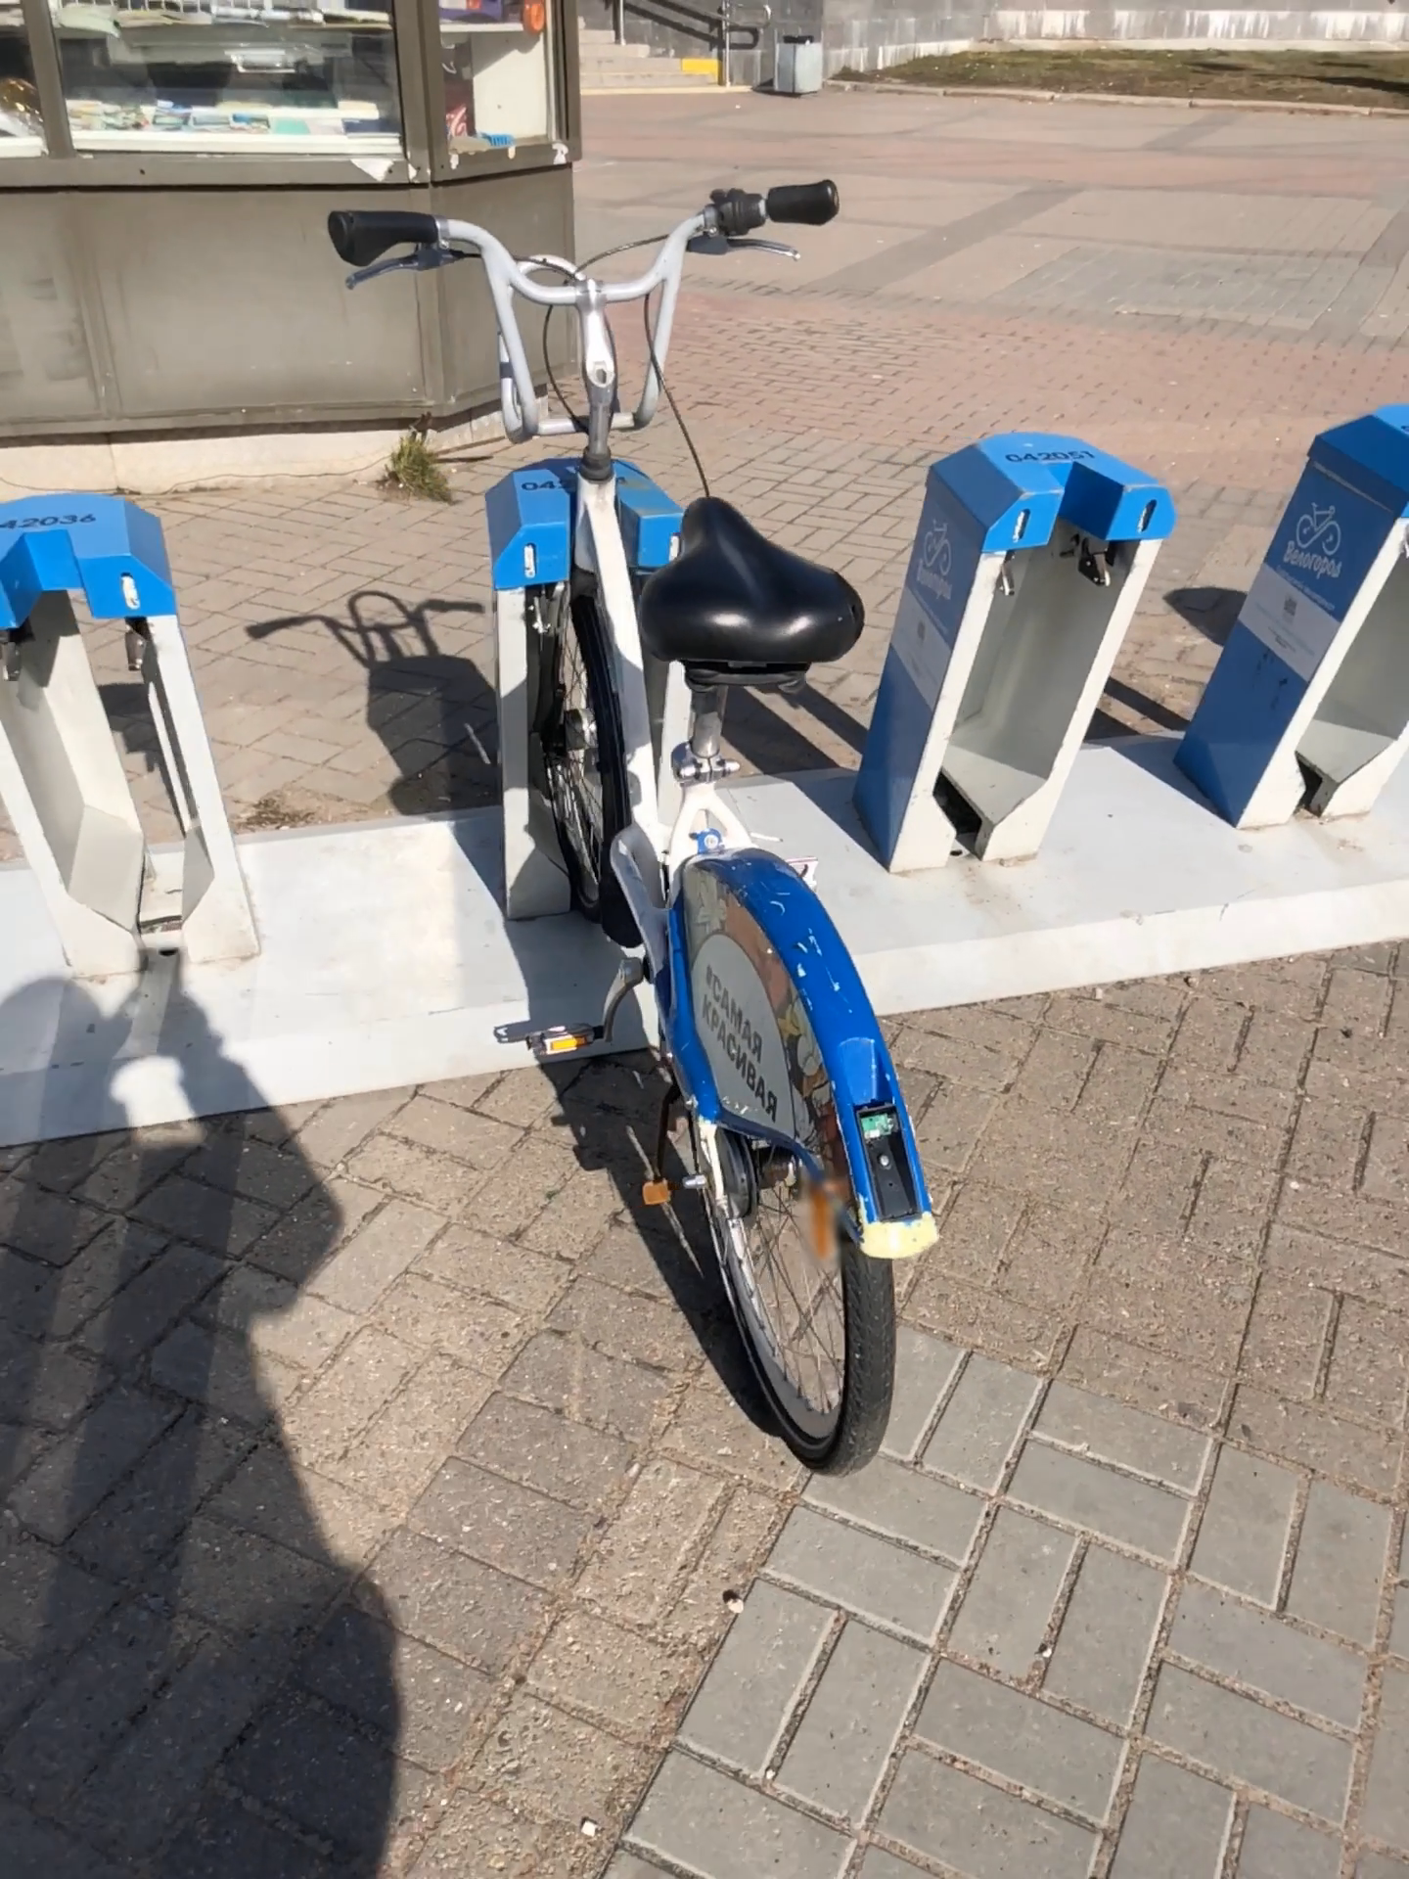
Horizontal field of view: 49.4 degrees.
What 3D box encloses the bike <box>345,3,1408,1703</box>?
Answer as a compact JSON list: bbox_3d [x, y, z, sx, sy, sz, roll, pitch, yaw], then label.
[{"bbox_3d":[-0.007,-0.320,1.873,0.596,1.203,1.636,-8,36,-13],"label":"bike"}]
